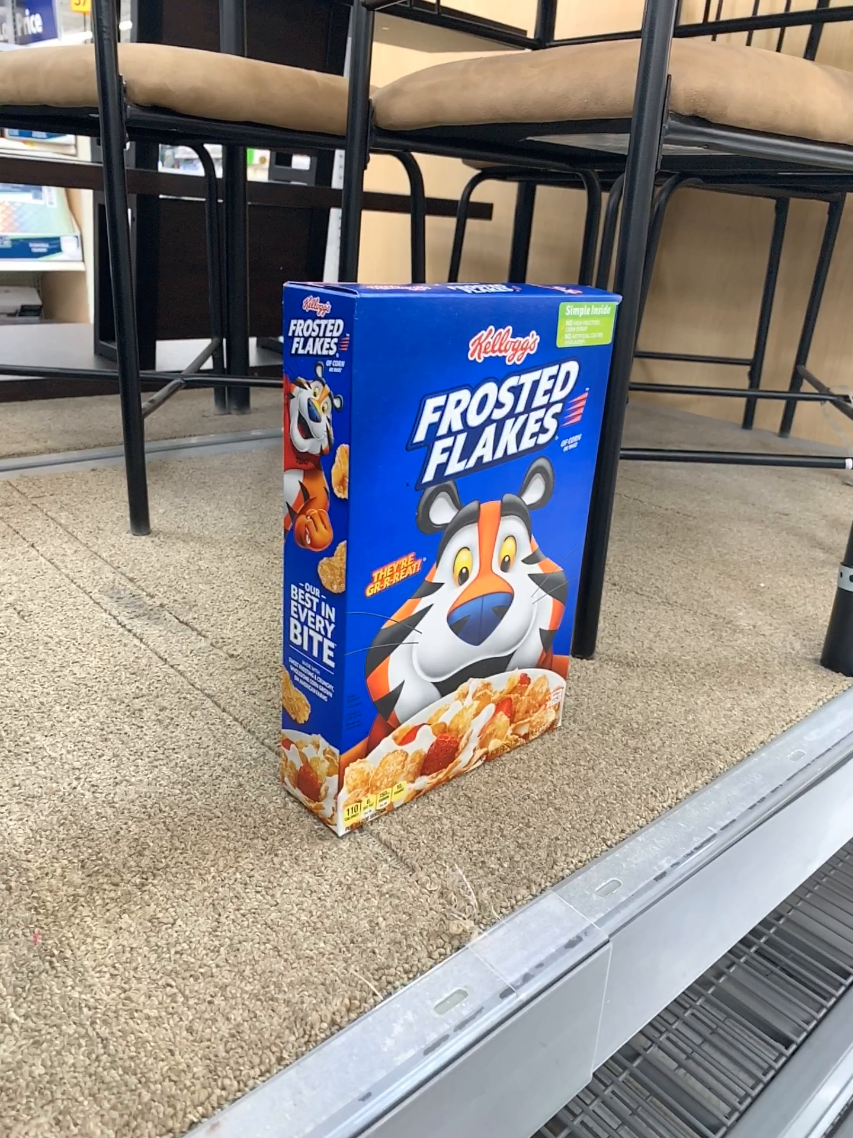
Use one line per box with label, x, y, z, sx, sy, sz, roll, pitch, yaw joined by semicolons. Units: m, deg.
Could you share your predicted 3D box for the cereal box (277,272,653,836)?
cereal box;0.021;-0.020;0.520;0.210;0.289;0.070;-15;28;-40
